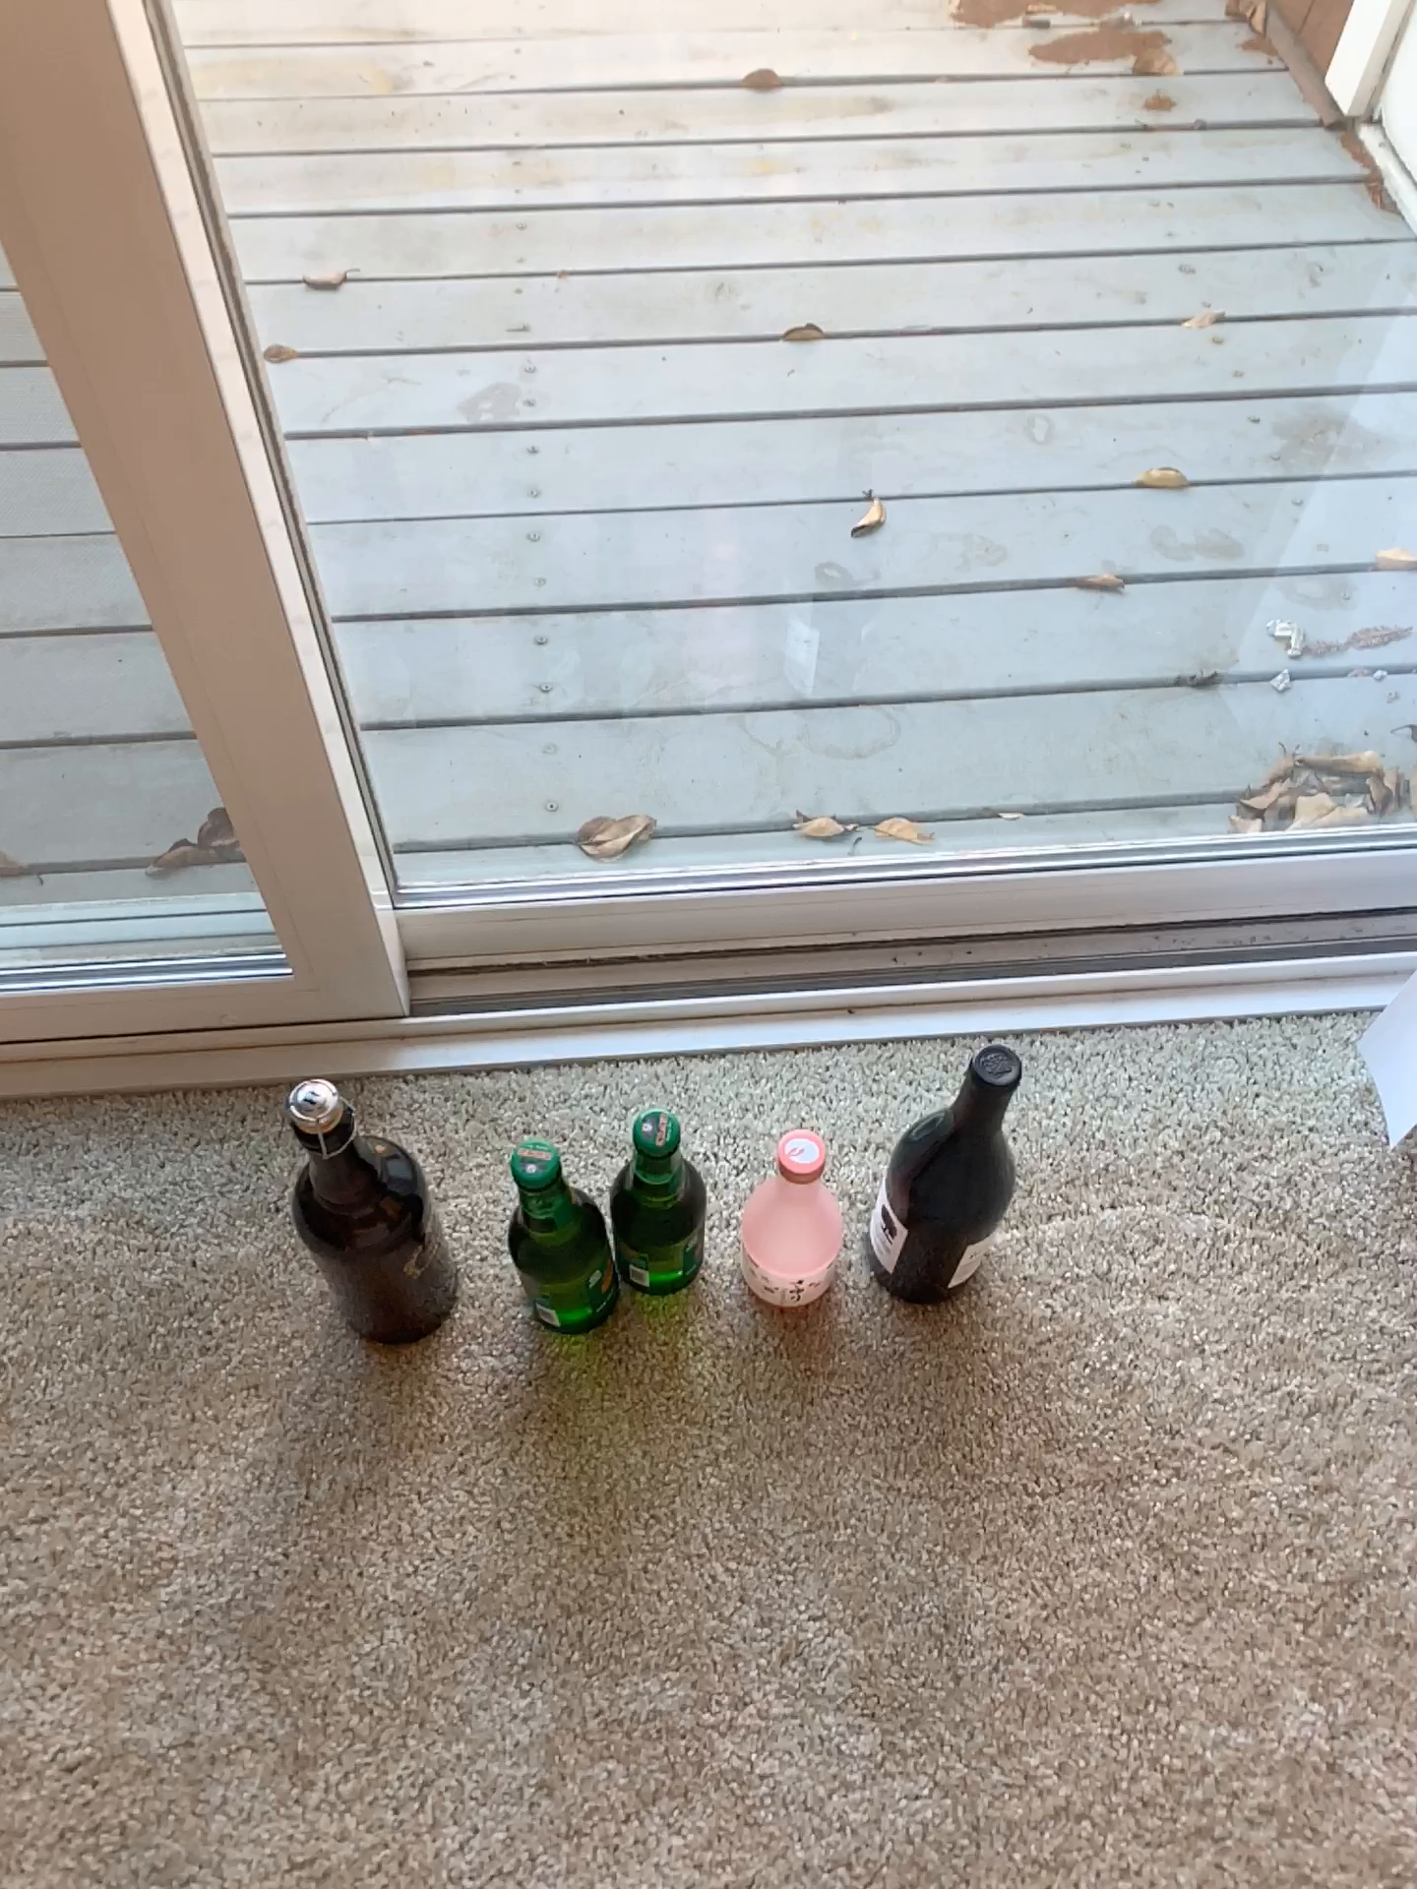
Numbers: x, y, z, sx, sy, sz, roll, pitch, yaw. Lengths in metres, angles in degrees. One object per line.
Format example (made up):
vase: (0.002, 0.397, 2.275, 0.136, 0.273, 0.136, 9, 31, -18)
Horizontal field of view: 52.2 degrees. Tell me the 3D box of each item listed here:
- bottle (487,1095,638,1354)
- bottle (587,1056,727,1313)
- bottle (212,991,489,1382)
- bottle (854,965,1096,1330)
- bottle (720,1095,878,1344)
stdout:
bottle: (-0.086, 0.177, 0.888, 0.070, 0.189, 0.080, -9, 58, -8)
bottle: (-0.033, 0.155, 0.903, 0.070, 0.189, 0.080, -6, 57, -6)
bottle: (-0.201, 0.154, 0.851, 0.090, 0.279, 0.100, -17, 59, -12)
bottle: (0.157, 0.134, 0.890, 0.090, 0.249, 0.110, 13, 58, 7)
bottle: (0.053, 0.175, 0.899, 0.070, 0.169, 0.080, 13, 58, 7)
